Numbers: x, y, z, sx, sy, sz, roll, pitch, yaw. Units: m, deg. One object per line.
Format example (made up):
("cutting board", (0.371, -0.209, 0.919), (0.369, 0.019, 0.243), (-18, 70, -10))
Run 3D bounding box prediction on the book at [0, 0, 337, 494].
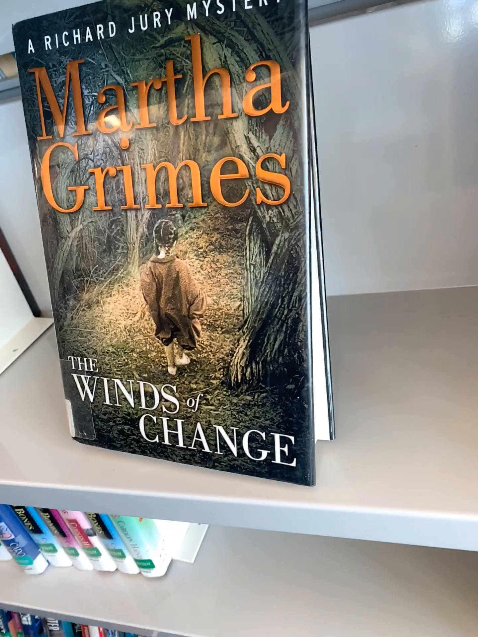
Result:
("book", (-0.034, -0.040, 0.274), (0.160, 0.244, 0.050), (2, 15, 25))
